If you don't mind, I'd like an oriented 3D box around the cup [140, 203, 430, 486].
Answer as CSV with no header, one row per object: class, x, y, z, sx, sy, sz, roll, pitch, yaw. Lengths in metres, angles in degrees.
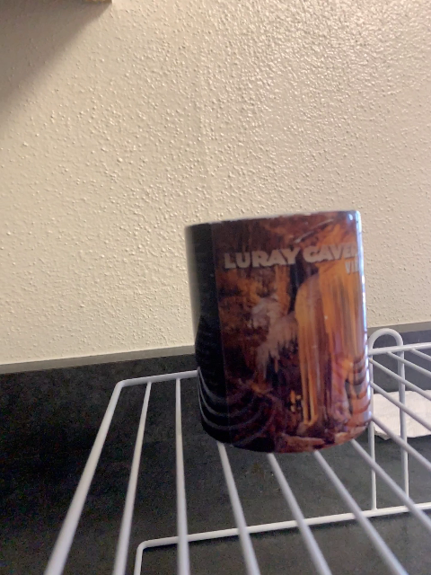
cup,0.041,0.010,0.211,0.120,0.090,0.080,-11,9,-41
